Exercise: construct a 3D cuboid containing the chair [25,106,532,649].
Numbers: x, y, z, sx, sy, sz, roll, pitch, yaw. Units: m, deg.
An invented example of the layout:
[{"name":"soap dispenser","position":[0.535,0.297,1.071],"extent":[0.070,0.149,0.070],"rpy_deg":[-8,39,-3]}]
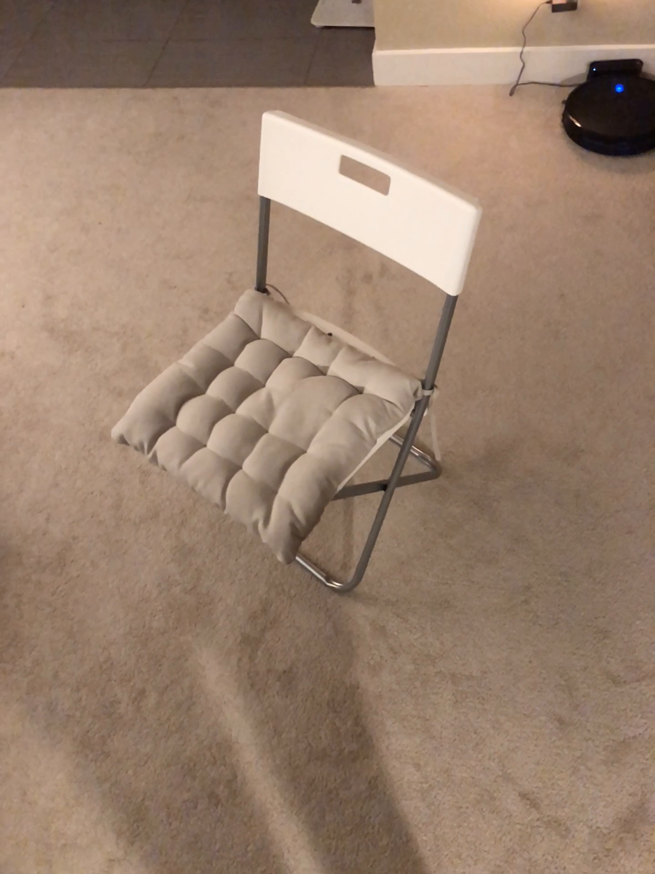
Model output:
[{"name":"chair","position":[-0.034,-0.081,1.309],"extent":[0.511,0.667,0.541],"rpy_deg":[33,67,25]}]
